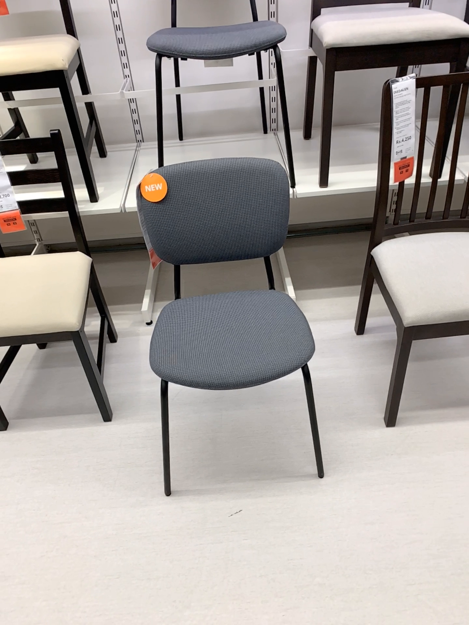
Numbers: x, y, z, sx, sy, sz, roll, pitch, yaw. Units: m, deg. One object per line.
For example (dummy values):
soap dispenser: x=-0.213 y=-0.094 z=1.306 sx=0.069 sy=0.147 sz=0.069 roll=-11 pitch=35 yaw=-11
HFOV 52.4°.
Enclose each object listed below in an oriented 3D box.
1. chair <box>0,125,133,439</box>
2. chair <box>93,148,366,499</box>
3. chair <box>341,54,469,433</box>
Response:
chair: x=-0.670 y=-0.082 z=1.529 sx=0.480 sy=0.807 sz=0.532 roll=-5 pitch=40 yaw=0
chair: x=-0.009 y=0.035 z=1.372 sx=0.520 sy=0.757 sz=0.593 roll=-6 pitch=40 yaw=-1
chair: x=0.657 y=-0.169 z=1.411 sx=0.480 sy=0.926 sz=0.532 roll=-6 pitch=40 yaw=-1
